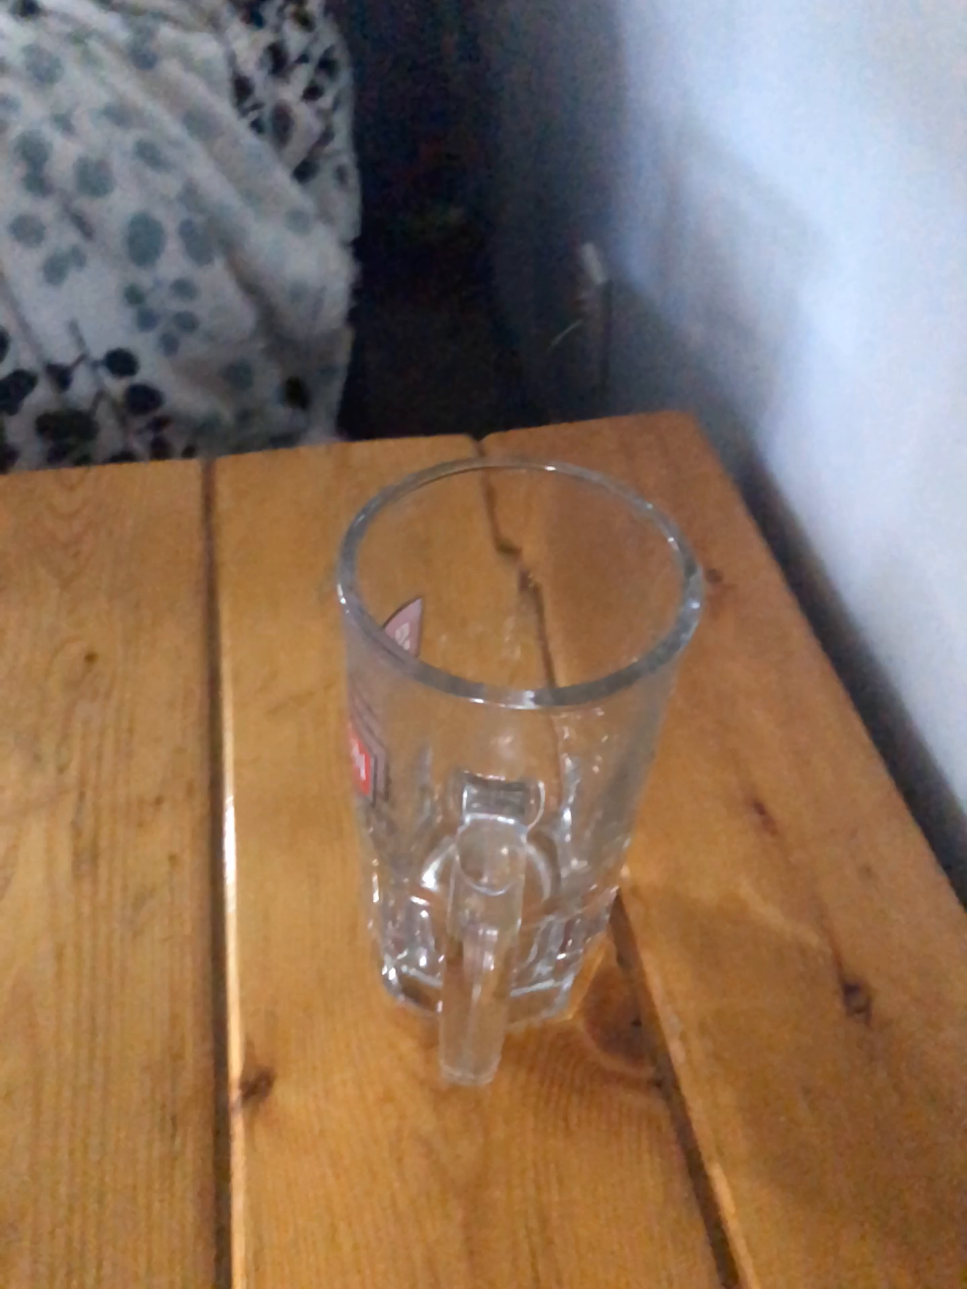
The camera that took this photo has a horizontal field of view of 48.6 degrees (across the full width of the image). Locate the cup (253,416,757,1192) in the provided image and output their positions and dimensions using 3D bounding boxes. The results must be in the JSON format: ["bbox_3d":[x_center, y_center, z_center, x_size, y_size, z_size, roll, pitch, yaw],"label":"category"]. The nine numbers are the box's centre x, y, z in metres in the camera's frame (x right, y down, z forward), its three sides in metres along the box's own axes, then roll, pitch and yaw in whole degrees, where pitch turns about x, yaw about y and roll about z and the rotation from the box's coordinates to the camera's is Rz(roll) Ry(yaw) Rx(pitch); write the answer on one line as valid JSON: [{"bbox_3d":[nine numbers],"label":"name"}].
[{"bbox_3d":[0.010,0.061,0.363,0.110,0.209,0.161,5,47,3],"label":"cup"}]
